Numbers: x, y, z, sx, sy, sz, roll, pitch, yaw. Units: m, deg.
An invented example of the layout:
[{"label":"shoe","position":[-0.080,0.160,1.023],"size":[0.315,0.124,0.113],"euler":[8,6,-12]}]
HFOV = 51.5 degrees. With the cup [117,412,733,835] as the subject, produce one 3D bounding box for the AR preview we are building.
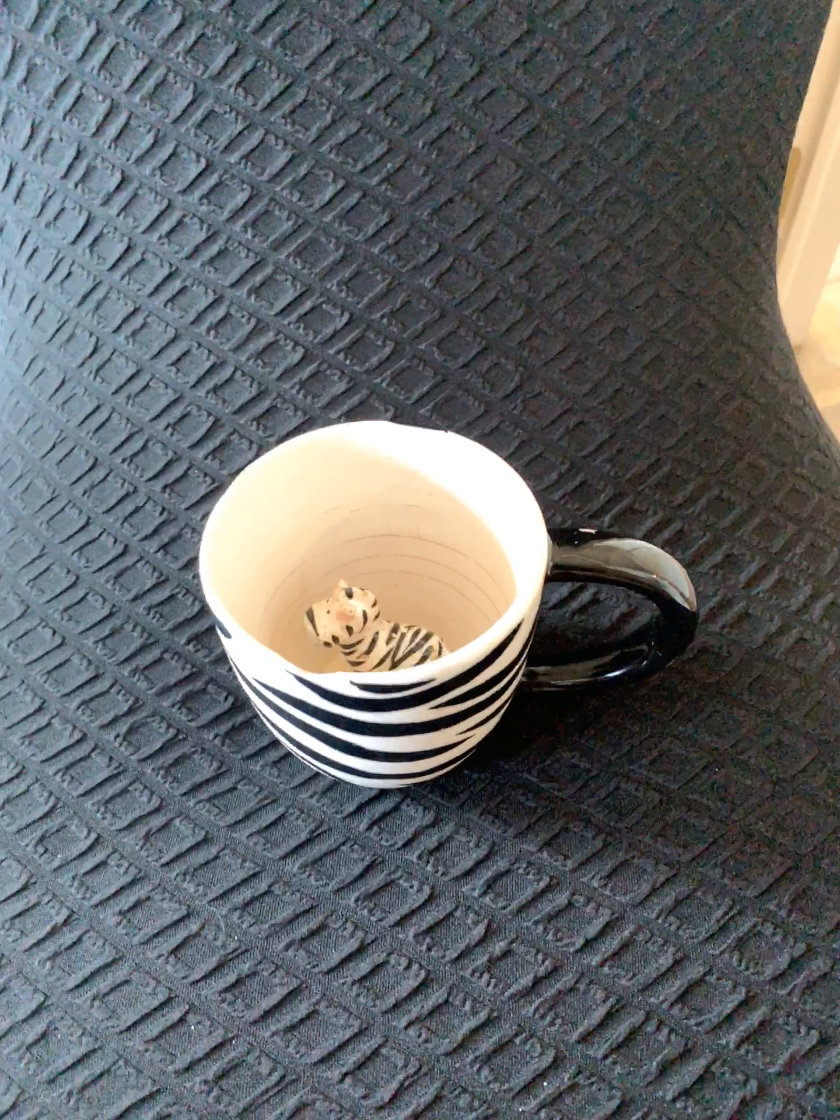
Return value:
[{"label":"cup","position":[0.006,0.020,0.255],"size":[0.140,0.090,0.080],"euler":[3,55,7]}]
